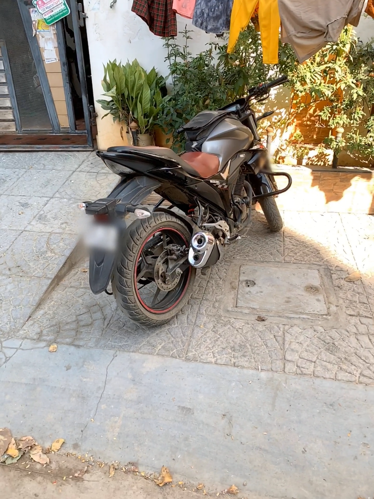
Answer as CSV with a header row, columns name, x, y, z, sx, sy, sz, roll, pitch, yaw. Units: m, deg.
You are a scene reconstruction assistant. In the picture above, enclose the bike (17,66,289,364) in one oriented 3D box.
name,x,y,z,sx,sy,sz,roll,pitch,yaw
bike,-0.023,-0.440,2.310,0.810,1.140,1.629,12,30,26
